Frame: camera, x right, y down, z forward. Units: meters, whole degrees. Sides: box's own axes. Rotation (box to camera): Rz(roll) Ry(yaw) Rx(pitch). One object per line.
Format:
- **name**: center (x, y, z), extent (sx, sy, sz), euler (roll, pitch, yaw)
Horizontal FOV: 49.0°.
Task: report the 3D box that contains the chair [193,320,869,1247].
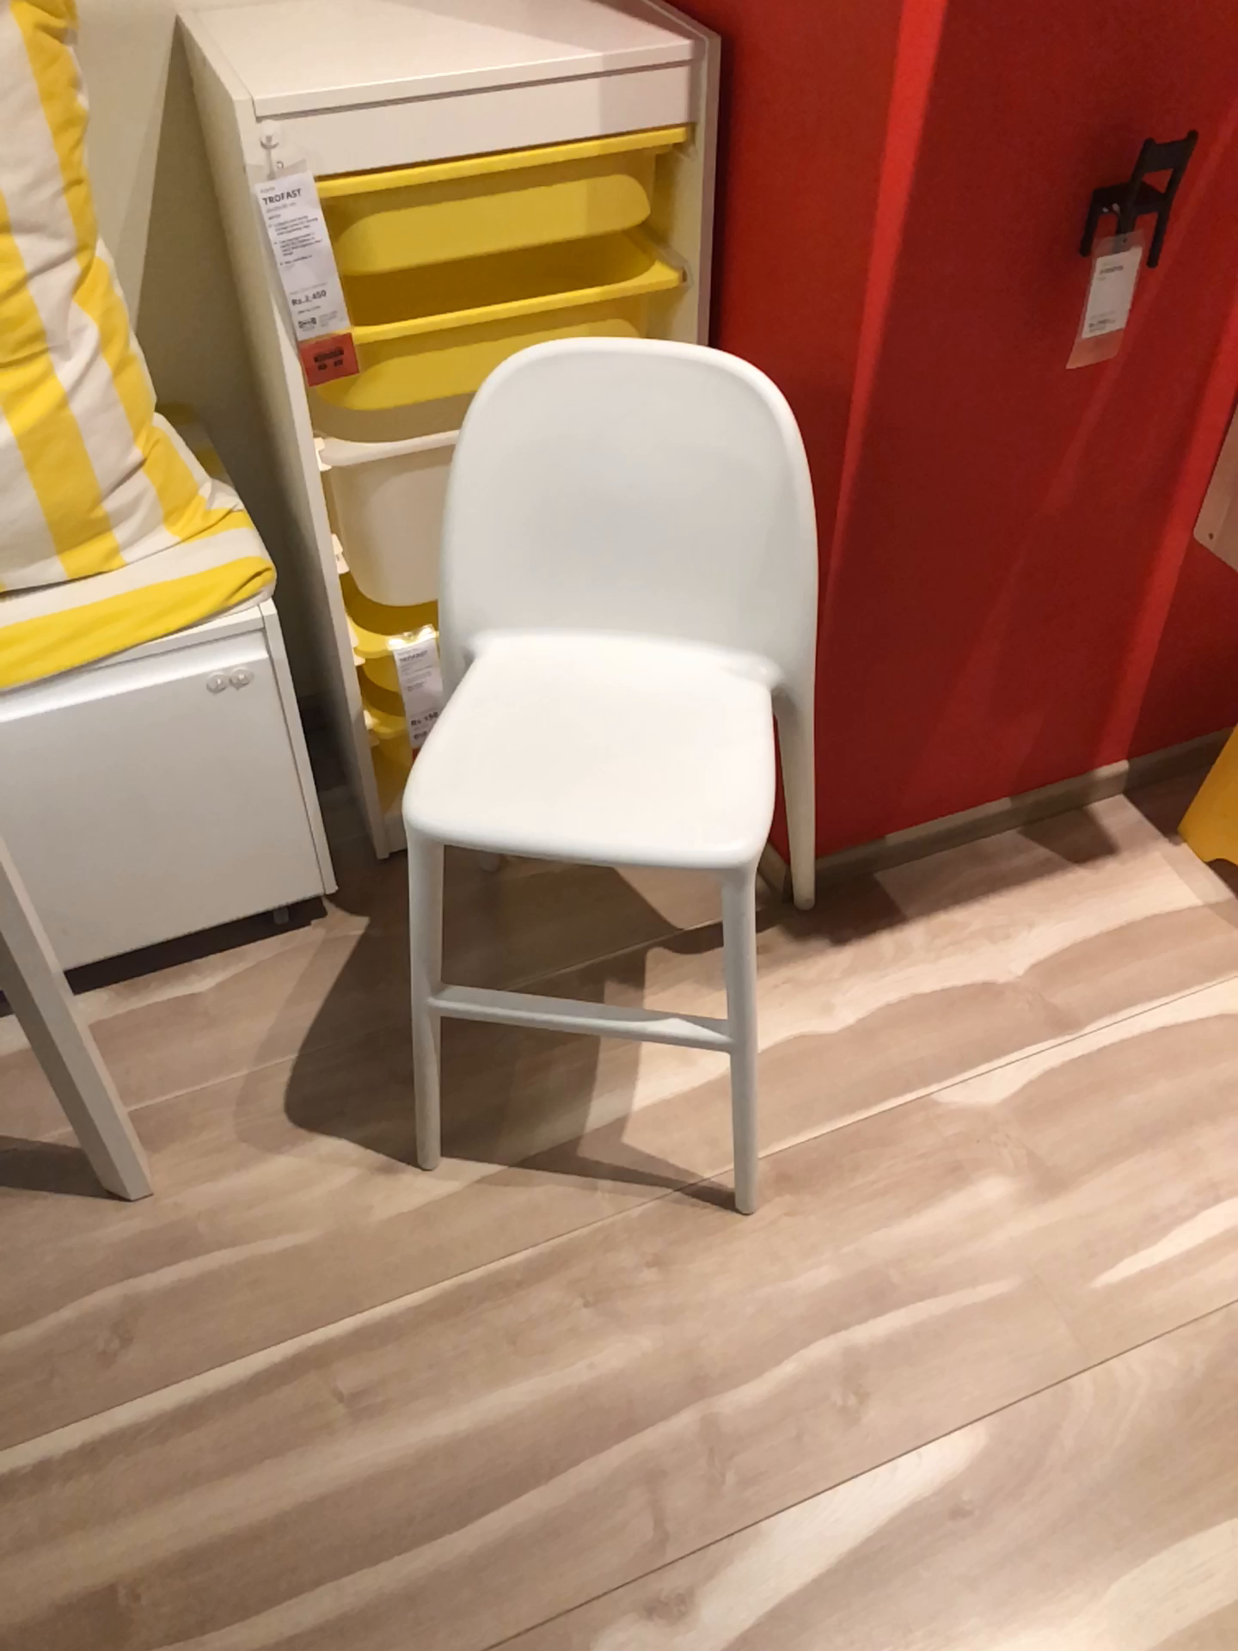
- **chair**: center (-0.029, -0.010, 1.263), extent (0.420, 0.705, 0.463), euler (6, 48, 6)
